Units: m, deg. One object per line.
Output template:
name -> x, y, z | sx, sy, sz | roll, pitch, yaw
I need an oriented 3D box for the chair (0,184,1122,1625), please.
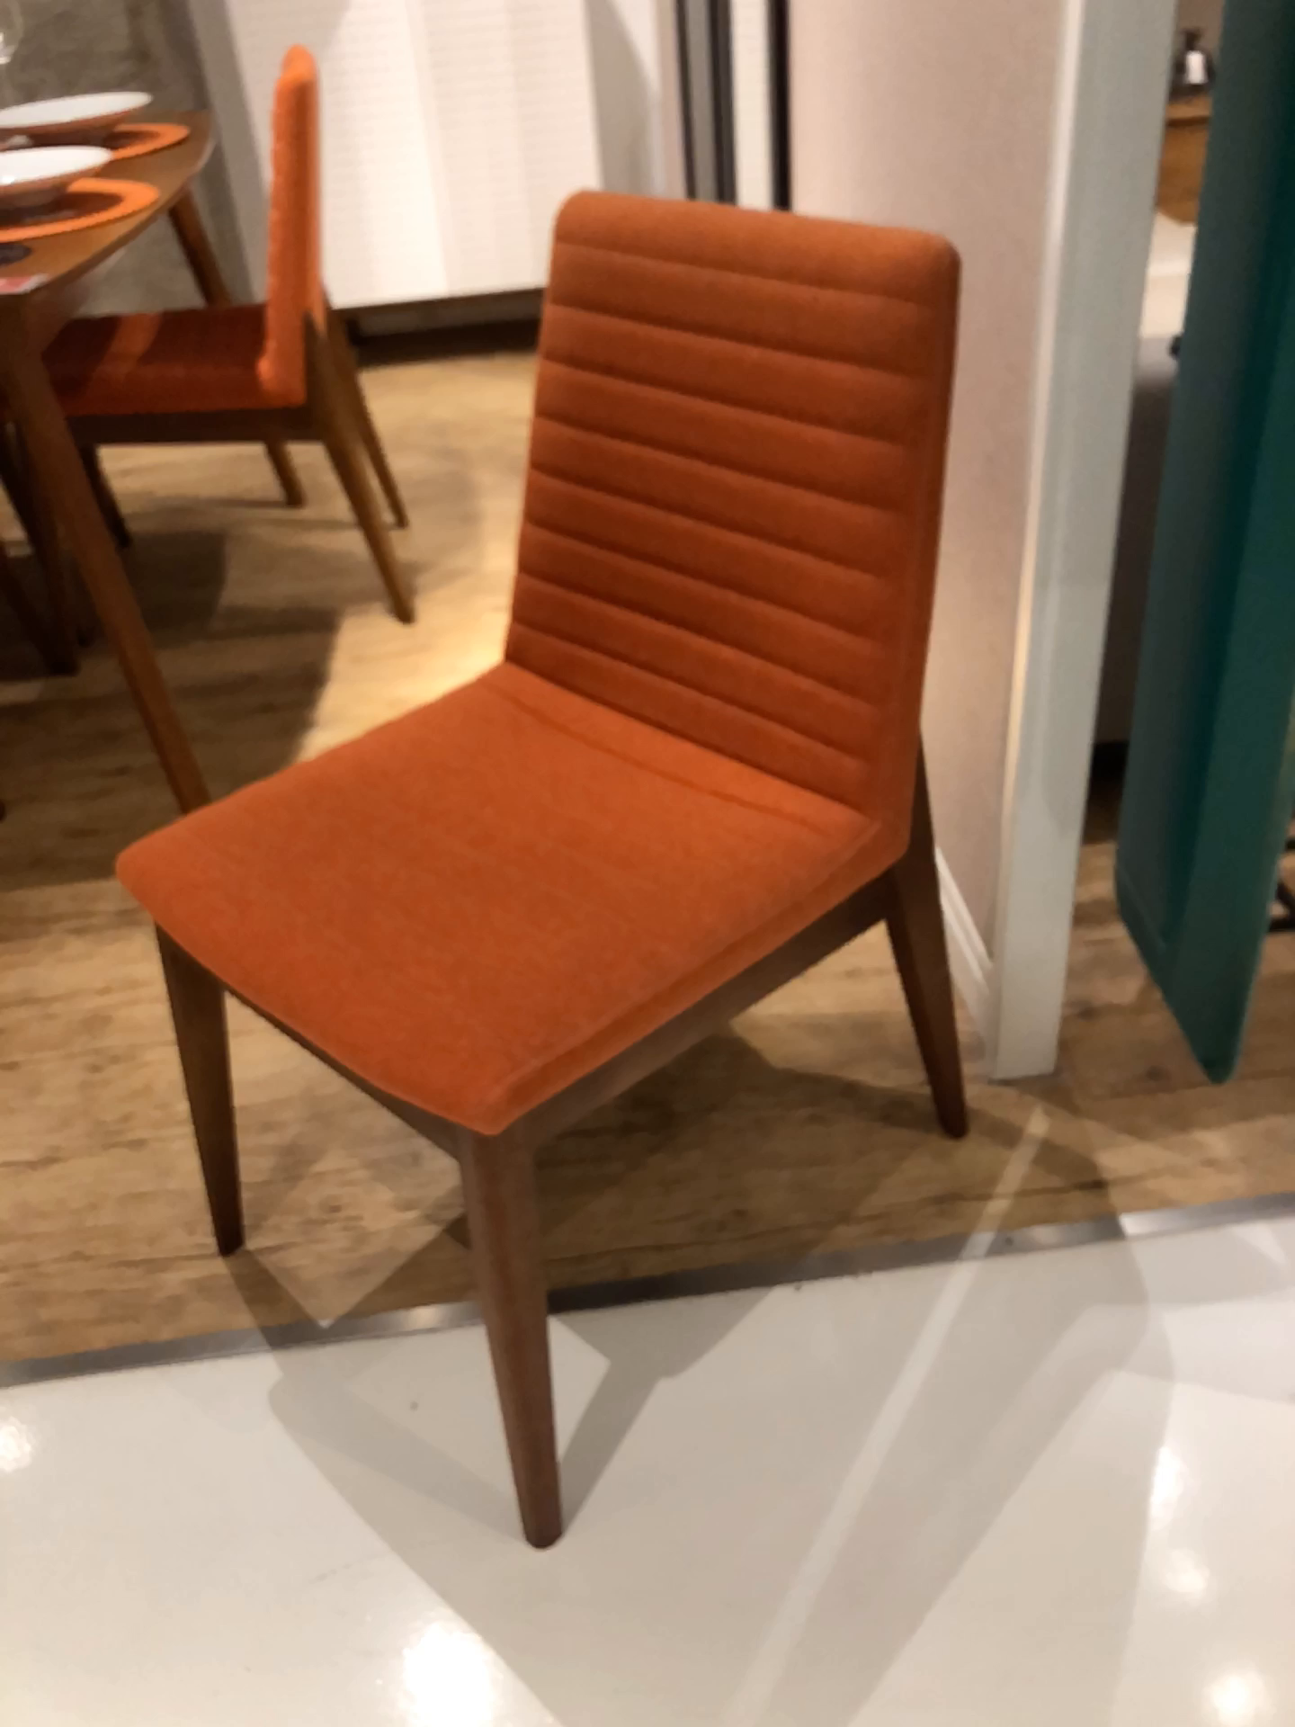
chair -> -0.068, -0.019, 1.154 | 0.532, 0.814, 0.633 | 26, 46, 37
